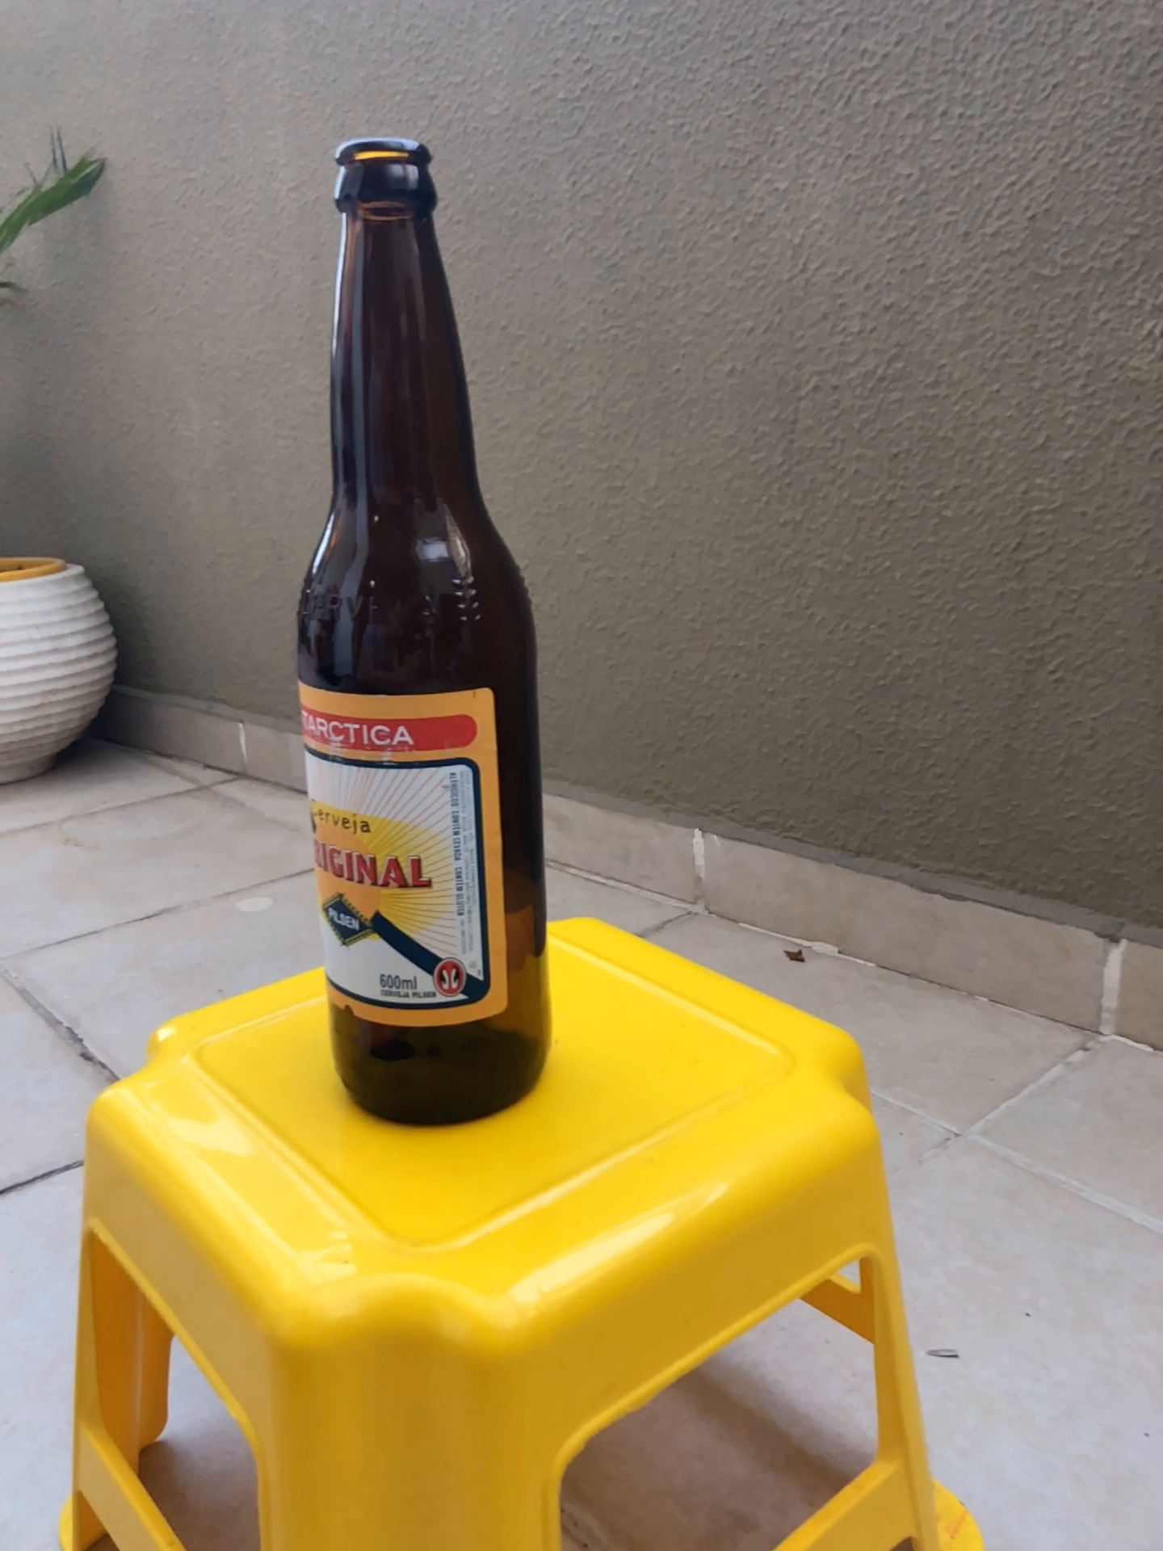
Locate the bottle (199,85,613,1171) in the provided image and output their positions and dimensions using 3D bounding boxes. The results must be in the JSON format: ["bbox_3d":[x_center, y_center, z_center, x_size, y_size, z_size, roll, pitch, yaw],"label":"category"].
[{"bbox_3d":[-0.049,-0.039,0.394,0.080,0.289,0.080,-1,15,0],"label":"bottle"}]
